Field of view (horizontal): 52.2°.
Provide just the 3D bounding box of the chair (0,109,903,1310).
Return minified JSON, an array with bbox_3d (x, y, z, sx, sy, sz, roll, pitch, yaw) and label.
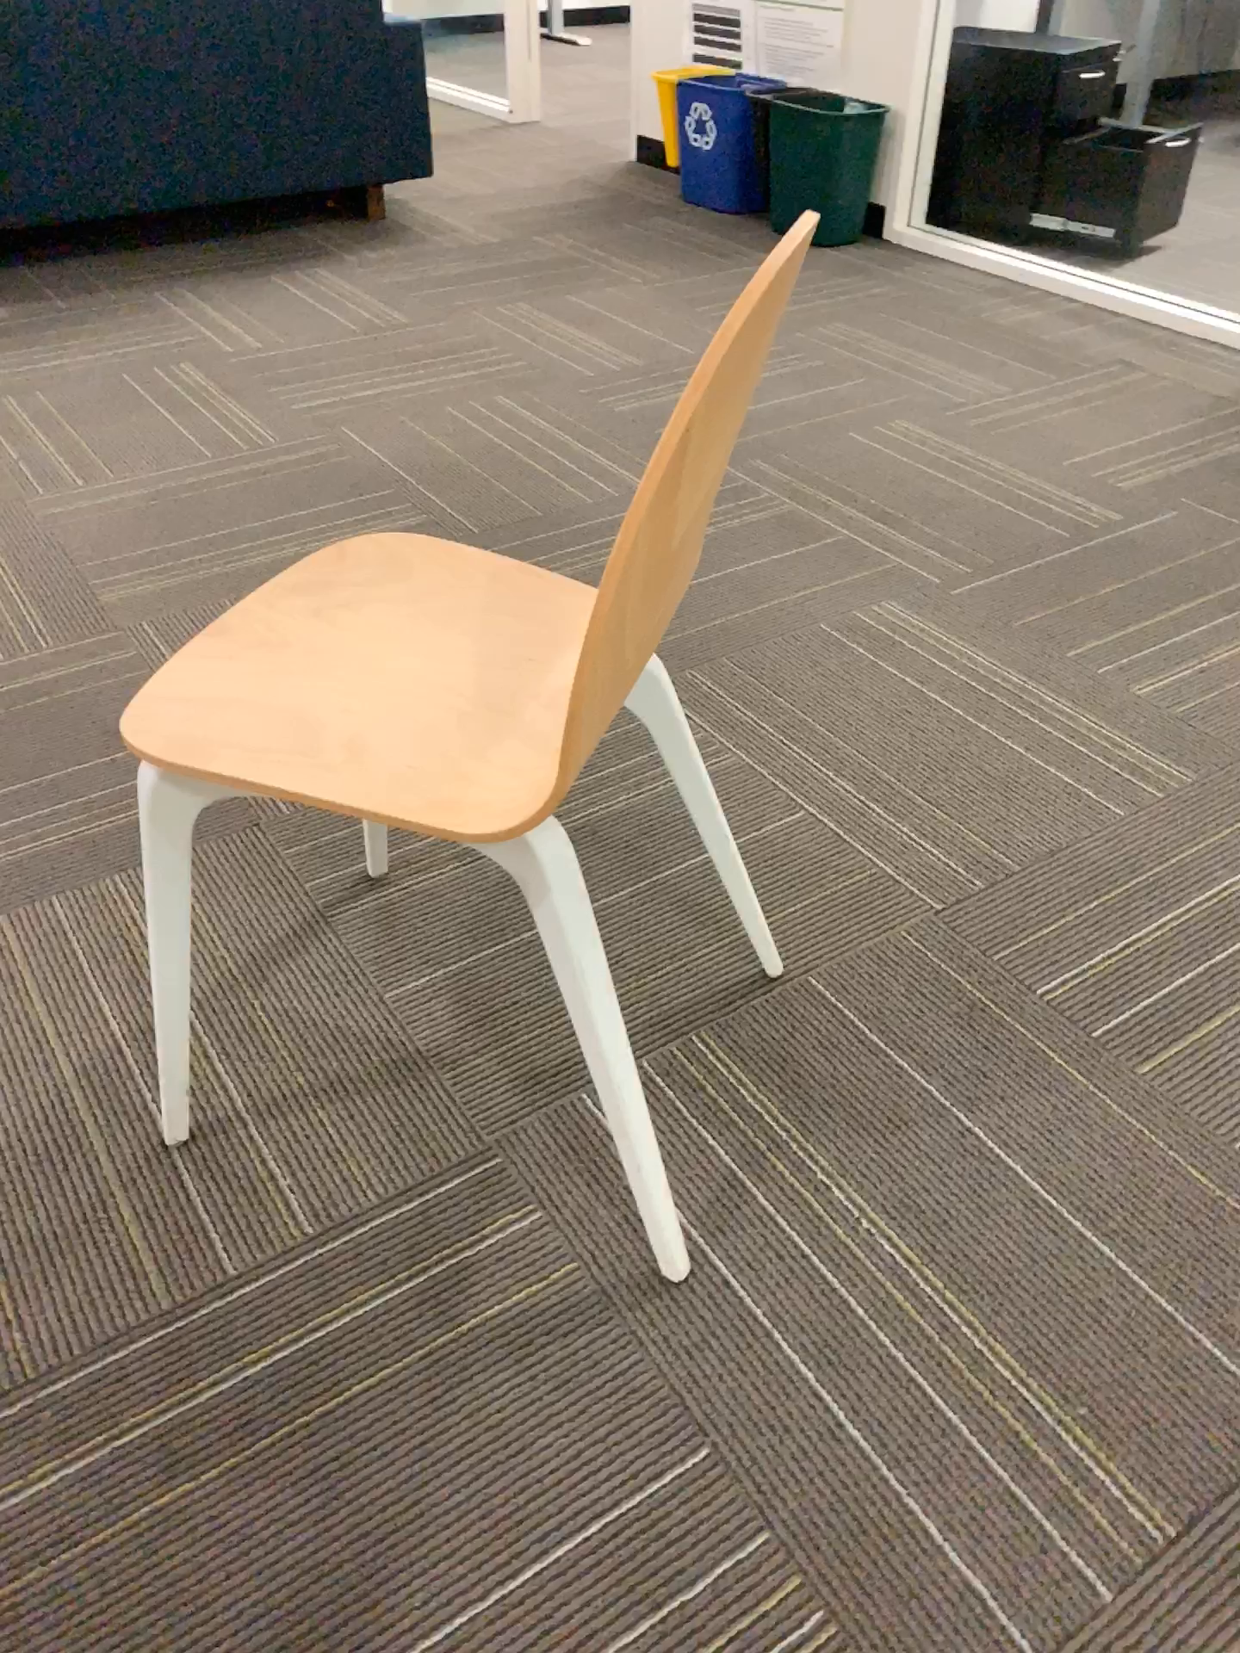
[{"bbox_3d":[-0.123,-0.104,1.081,0.541,0.795,0.502,12,39,14],"label":"chair"}]
